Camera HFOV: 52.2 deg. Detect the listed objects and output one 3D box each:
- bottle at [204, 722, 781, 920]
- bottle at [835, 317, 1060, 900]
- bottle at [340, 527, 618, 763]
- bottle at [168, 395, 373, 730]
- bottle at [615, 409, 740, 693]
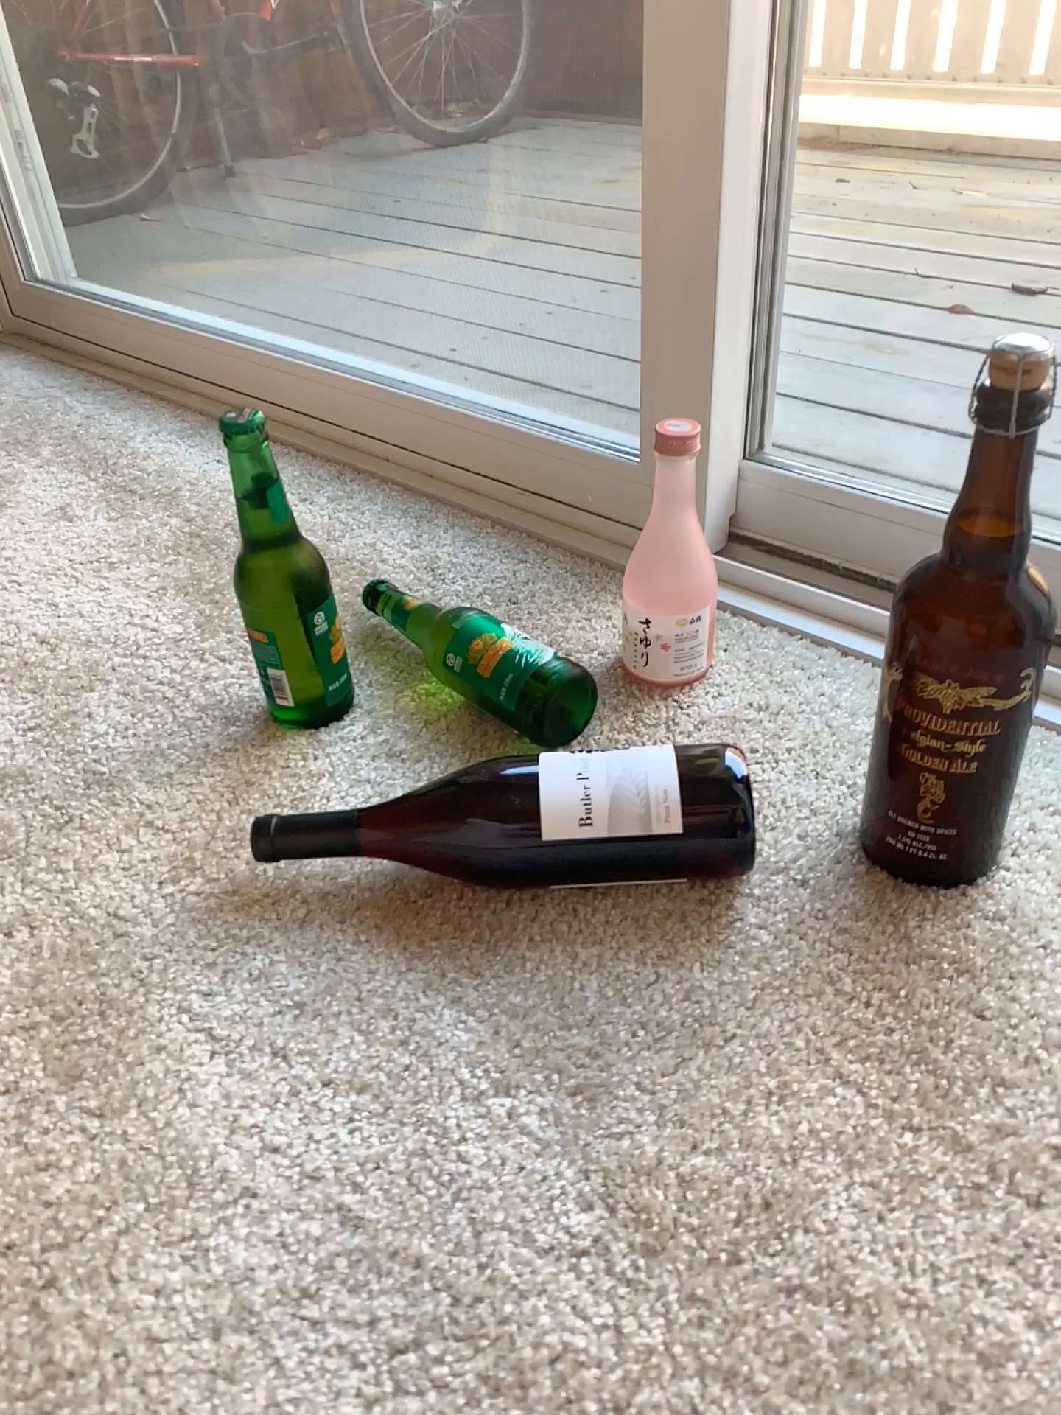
[{"bbox_3d":[-0.019,0.061,0.590,0.290,0.060,0.070,-3,36,0],"label":"bottle"},{"bbox_3d":[0.223,-0.037,0.554,0.080,0.288,0.091,-2,36,2],"label":"bottle"},{"bbox_3d":[-0.041,-0.051,0.758,0.060,0.060,0.231,-28,43,-30],"label":"bottle"},{"bbox_3d":[-0.160,-0.090,0.704,0.080,0.199,0.080,-2,36,2],"label":"bottle"},{"bbox_3d":[0.095,-0.104,0.732,0.070,0.169,0.080,-2,36,2],"label":"bottle"}]
